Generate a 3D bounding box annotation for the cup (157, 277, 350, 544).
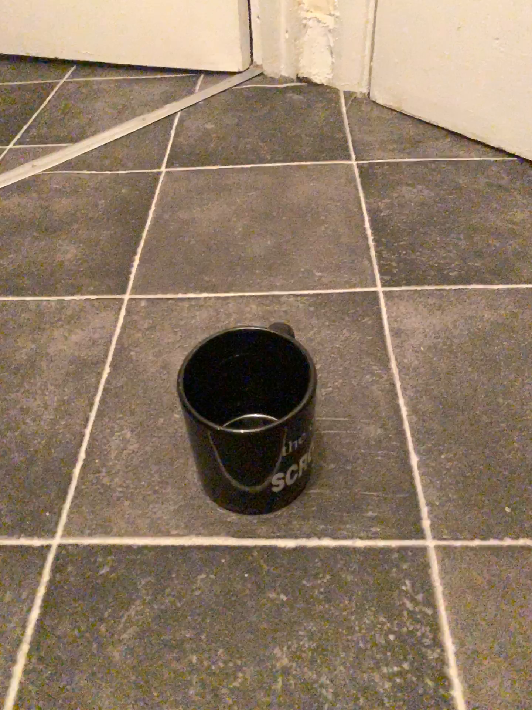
[{"bbox_3d":[0.000,0.035,0.363,0.080,0.115,0.118,12,48,15],"label":"cup"}]
